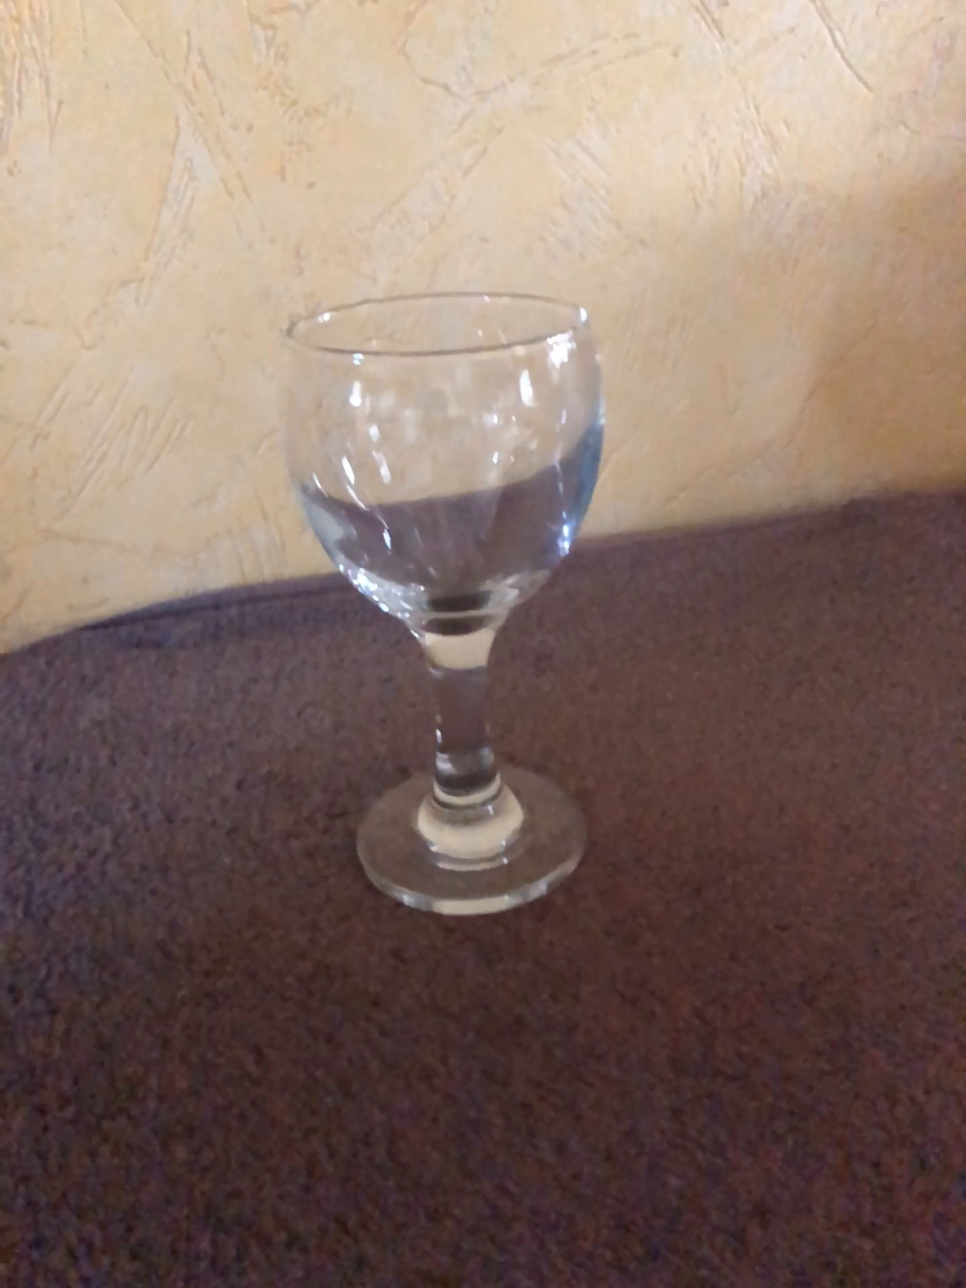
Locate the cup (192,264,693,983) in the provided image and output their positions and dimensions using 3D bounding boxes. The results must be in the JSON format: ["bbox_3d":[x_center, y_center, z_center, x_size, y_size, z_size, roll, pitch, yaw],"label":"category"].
[{"bbox_3d":[-0.005,-0.010,0.239,0.070,0.129,0.070,-3,27,2],"label":"cup"}]
